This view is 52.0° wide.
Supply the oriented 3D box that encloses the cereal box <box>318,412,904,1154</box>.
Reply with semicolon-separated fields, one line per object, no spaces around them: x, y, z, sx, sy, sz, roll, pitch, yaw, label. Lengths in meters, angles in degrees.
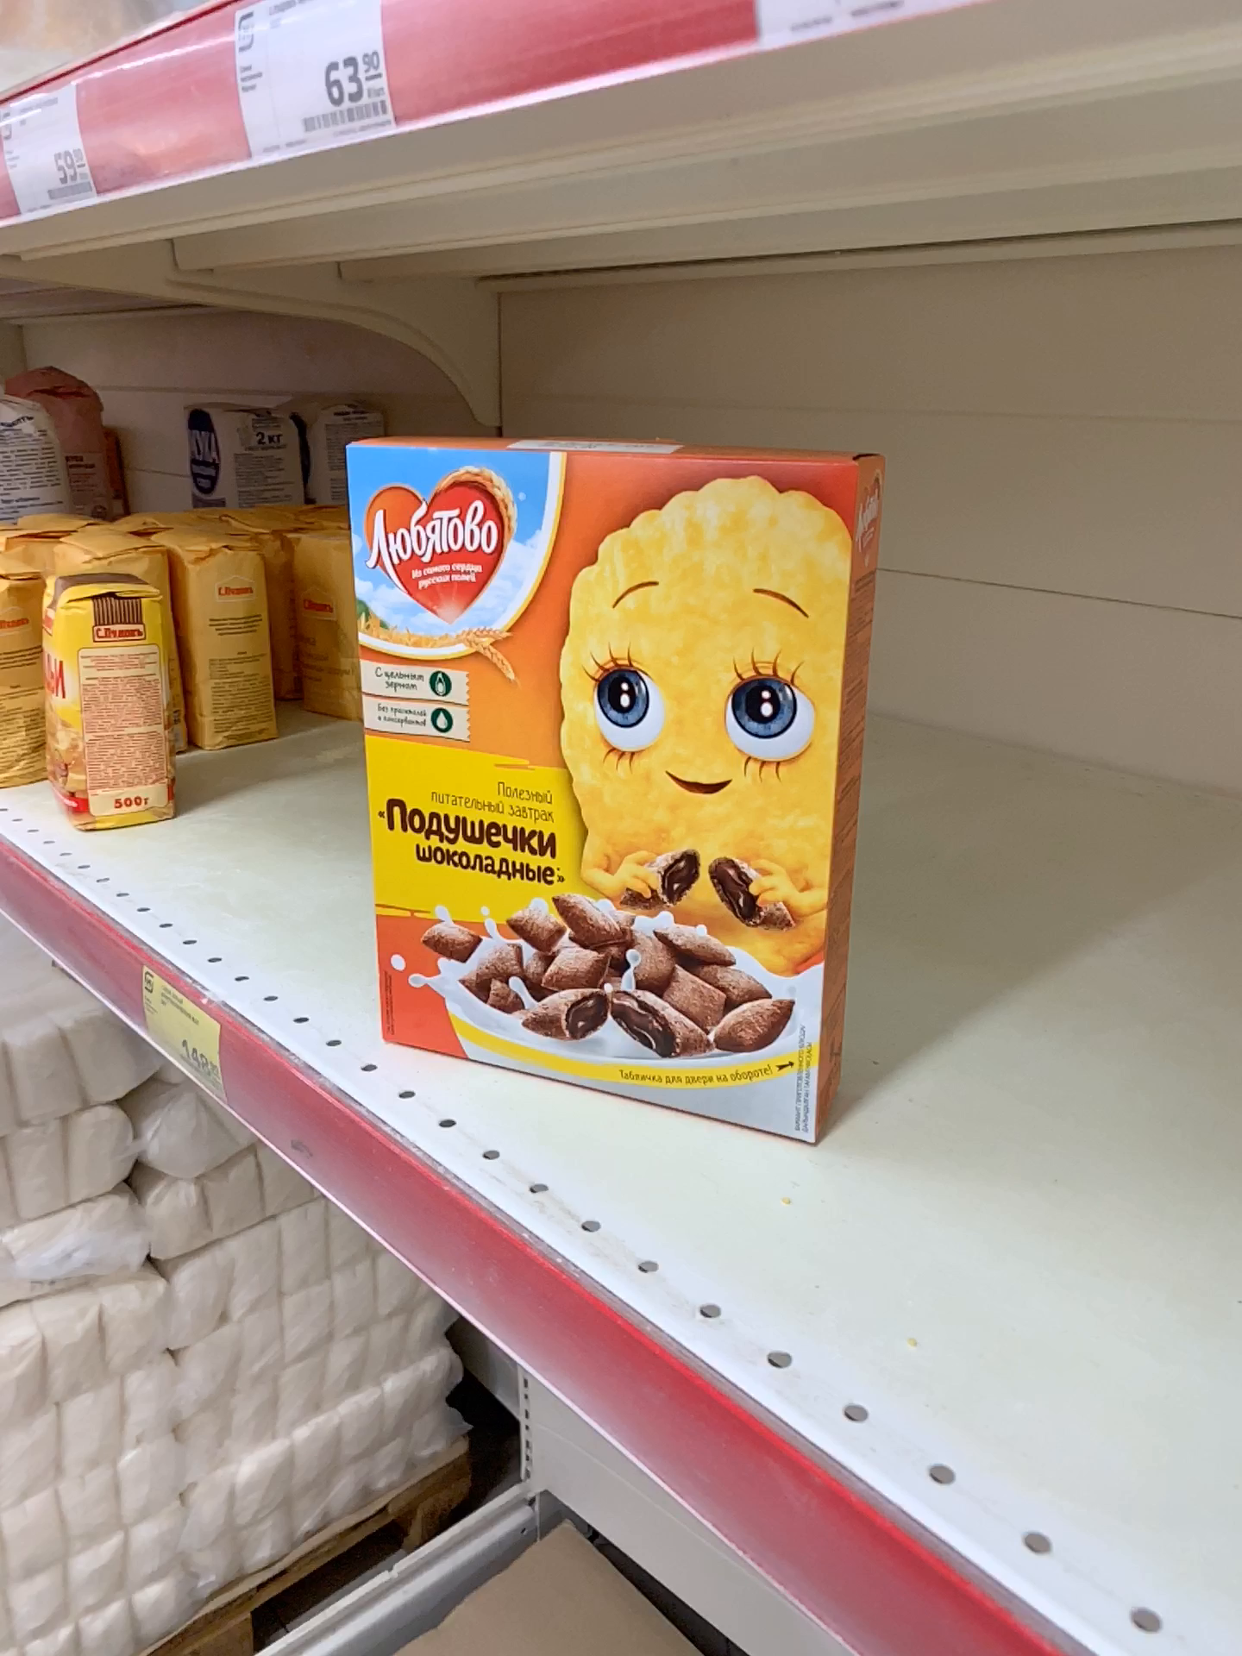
-0.006;-0.021;0.438;0.180;0.228;0.050;8;20;22;cereal box
